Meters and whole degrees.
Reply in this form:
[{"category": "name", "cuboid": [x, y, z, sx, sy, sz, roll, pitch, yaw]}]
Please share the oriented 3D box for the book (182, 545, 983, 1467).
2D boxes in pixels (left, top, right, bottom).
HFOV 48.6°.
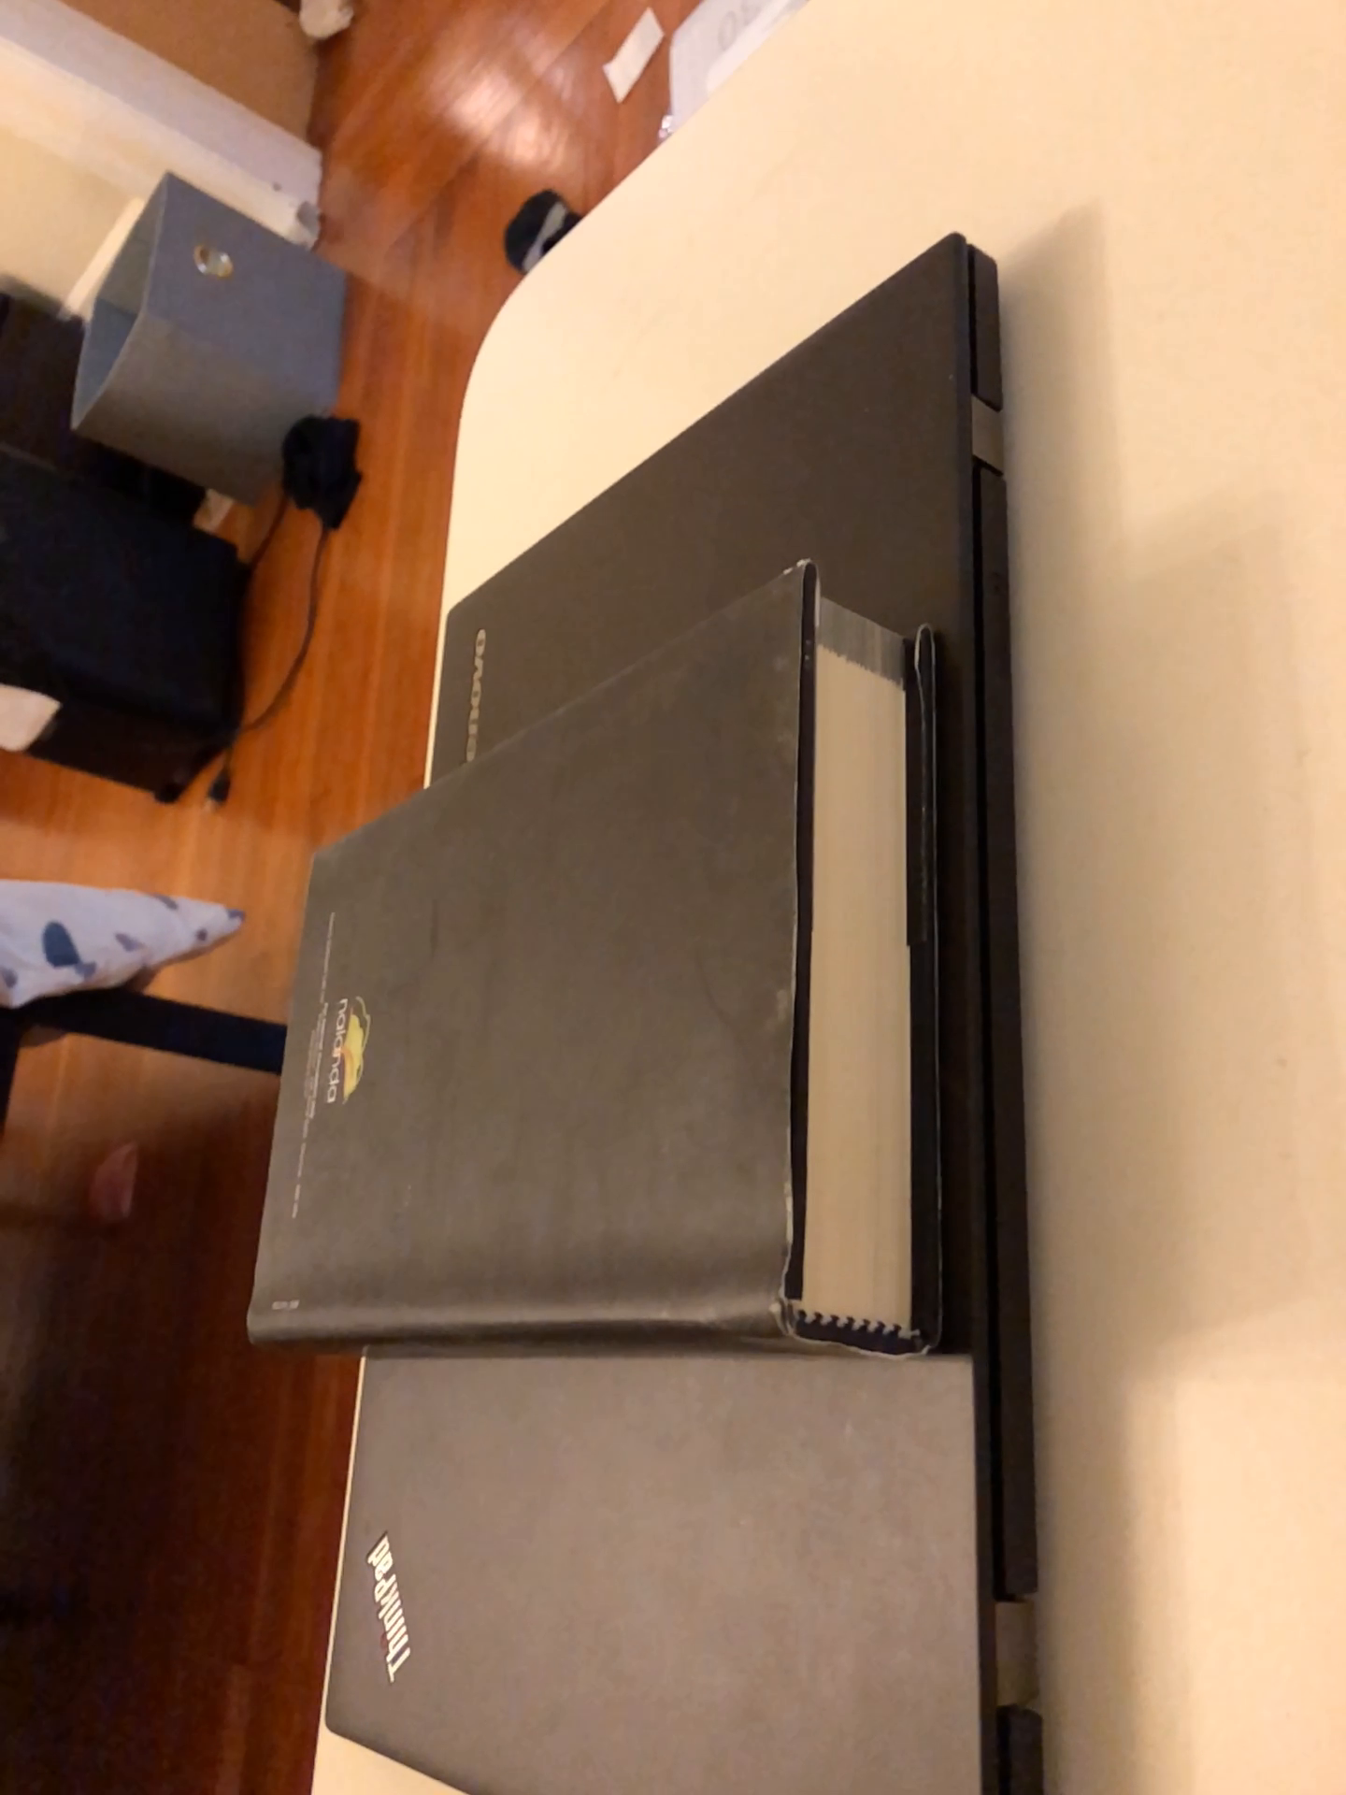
[{"category": "book", "cuboid": [-0.035, 0.039, 0.334, 0.231, 0.040, 0.150, -19, 60, 48]}]
